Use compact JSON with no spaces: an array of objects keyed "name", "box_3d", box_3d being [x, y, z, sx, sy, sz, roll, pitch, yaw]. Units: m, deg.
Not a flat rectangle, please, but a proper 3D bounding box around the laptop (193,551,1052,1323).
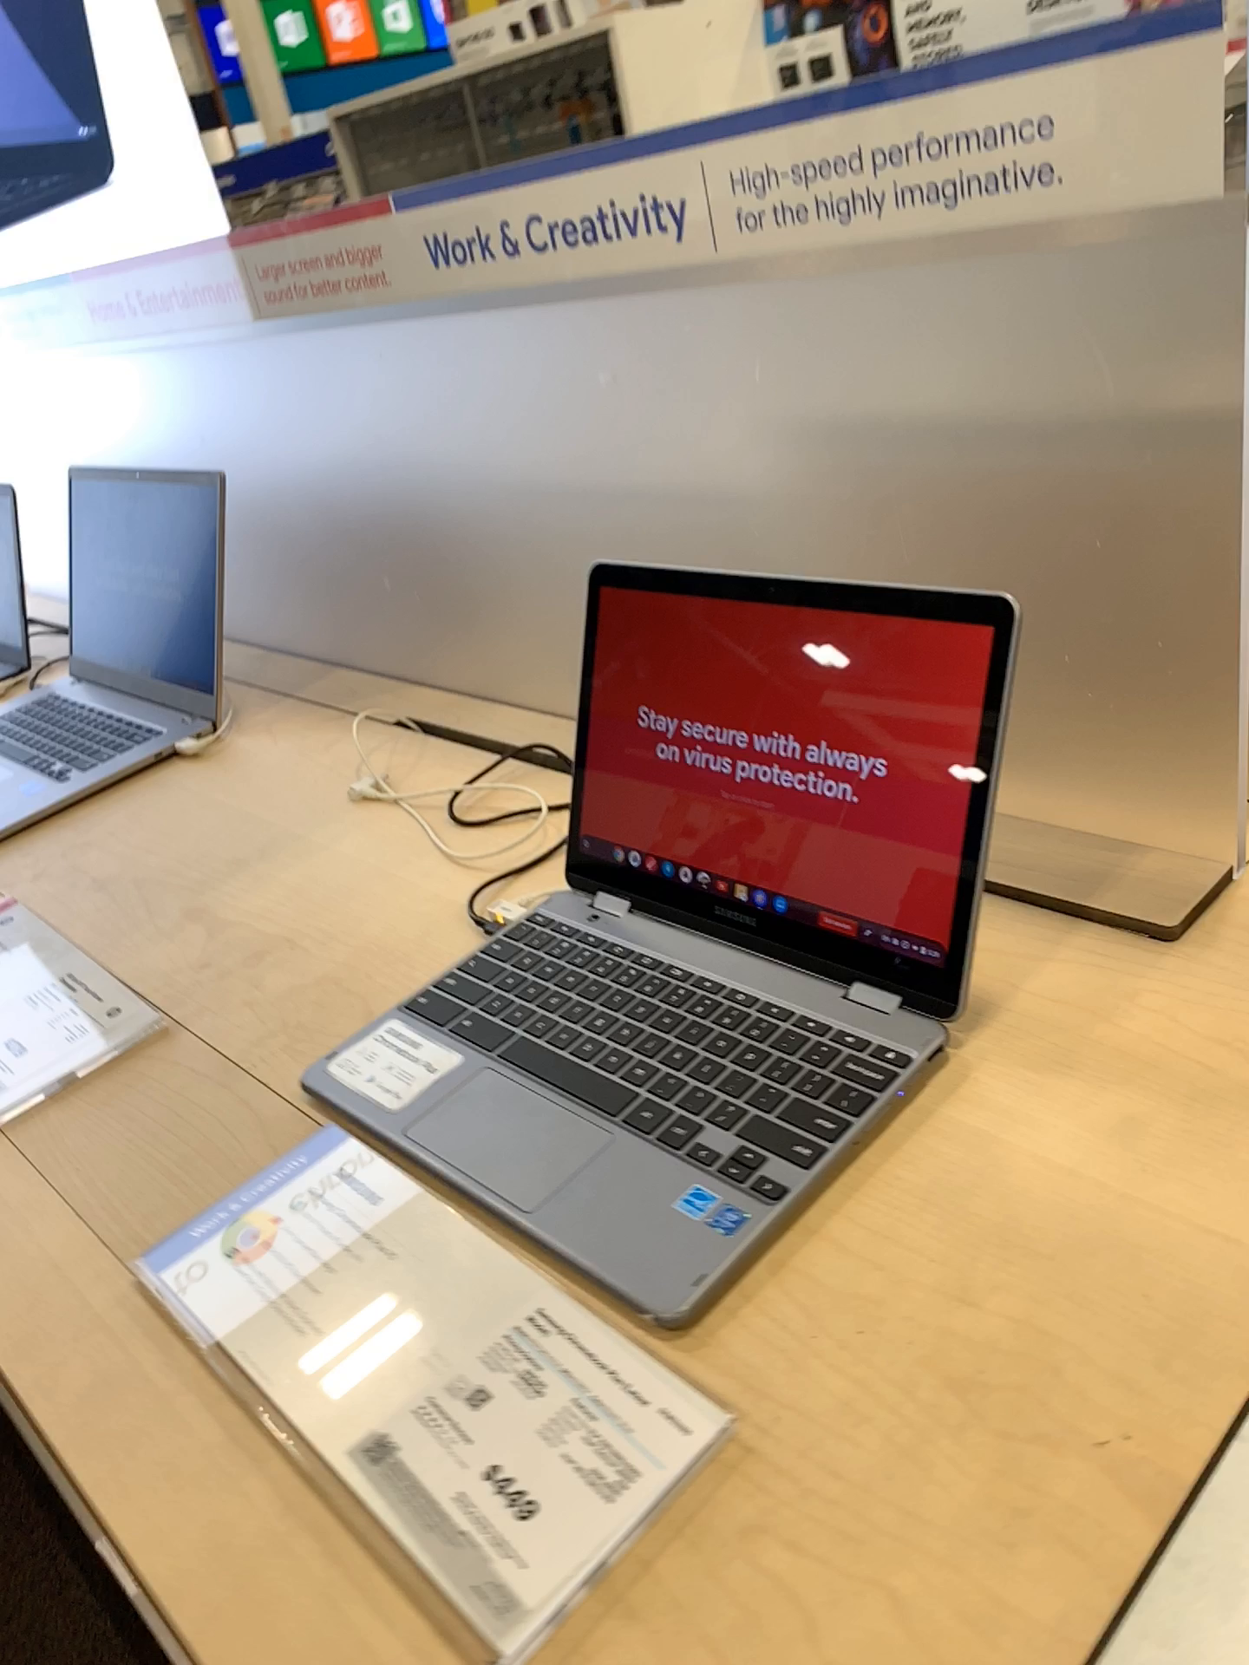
[{"name":"laptop","box_3d":[0.005,0.011,0.625,0.288,0.181,0.274,-35,34,-32]}]
